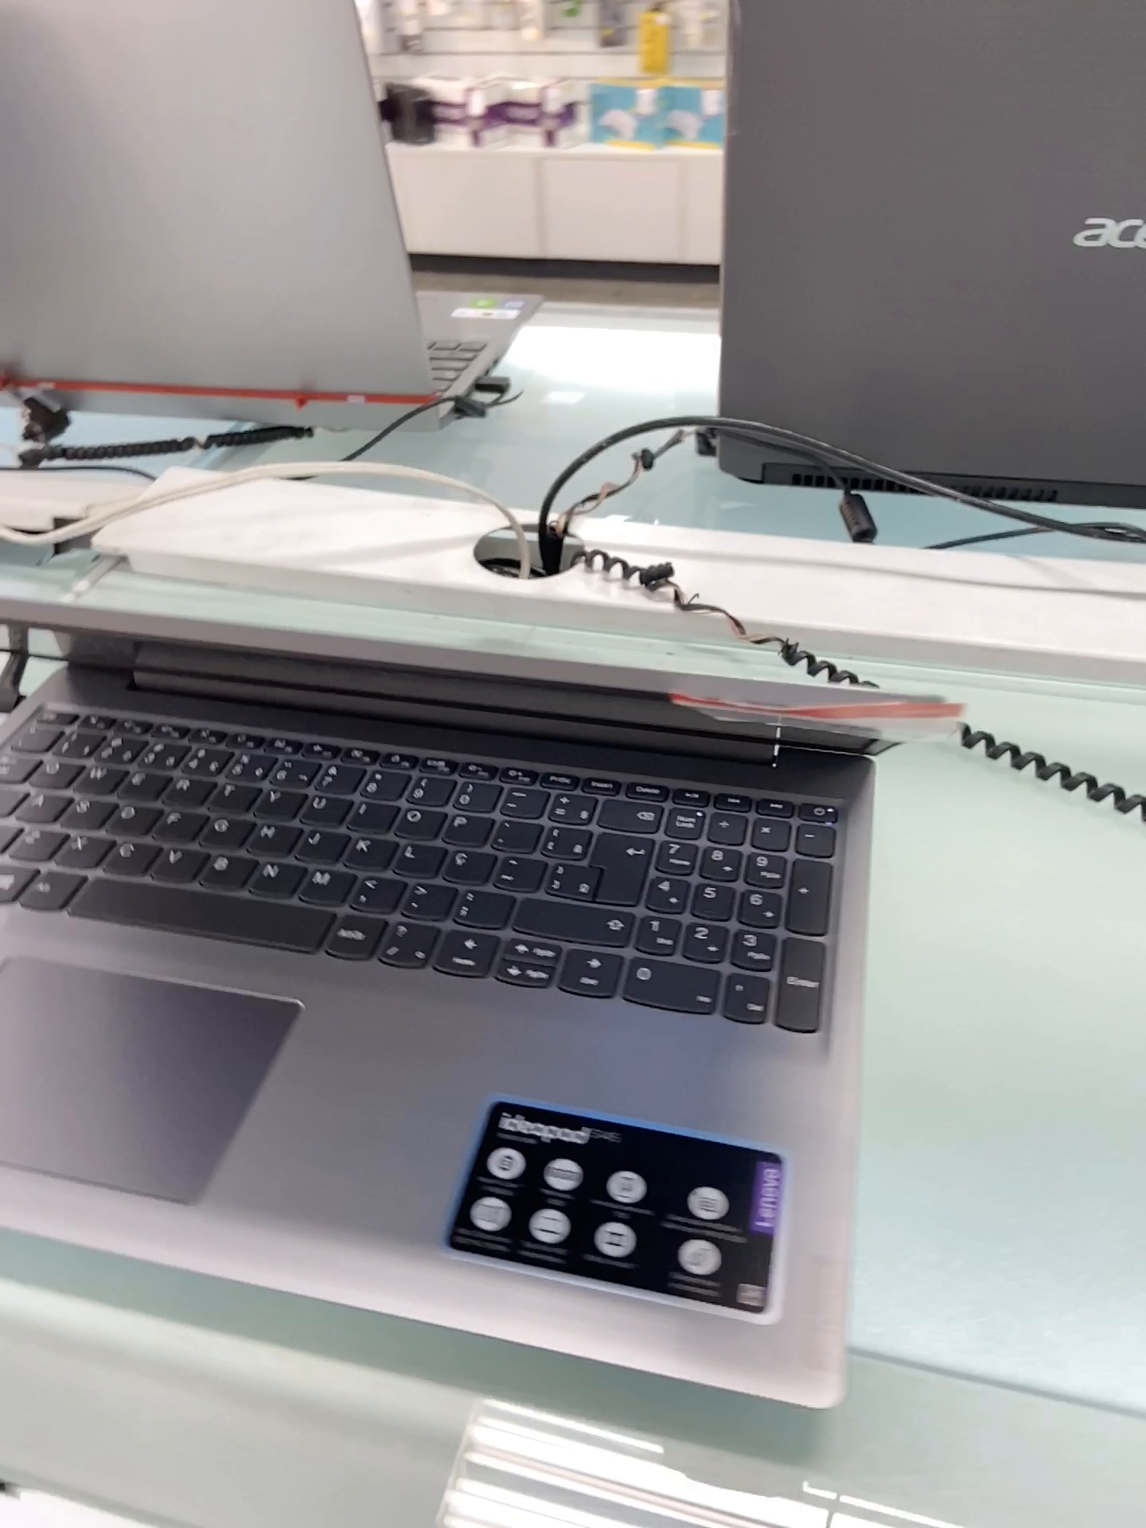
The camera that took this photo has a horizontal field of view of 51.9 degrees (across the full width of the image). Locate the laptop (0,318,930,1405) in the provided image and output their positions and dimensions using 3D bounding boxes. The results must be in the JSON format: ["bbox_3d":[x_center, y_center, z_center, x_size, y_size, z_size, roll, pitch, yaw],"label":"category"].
[{"bbox_3d":[-0.090,-0.007,0.355,0.361,0.160,0.247,6,39,12],"label":"laptop"}]
